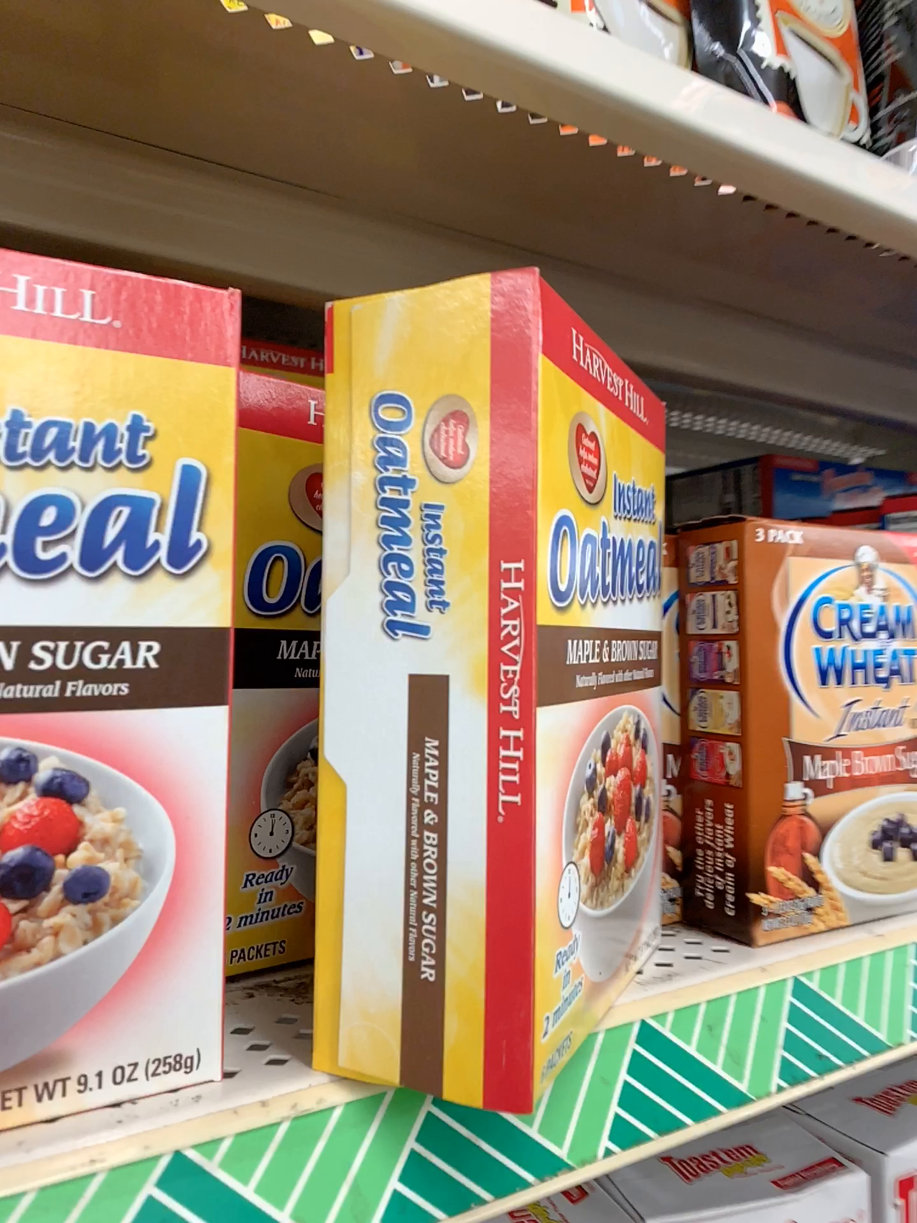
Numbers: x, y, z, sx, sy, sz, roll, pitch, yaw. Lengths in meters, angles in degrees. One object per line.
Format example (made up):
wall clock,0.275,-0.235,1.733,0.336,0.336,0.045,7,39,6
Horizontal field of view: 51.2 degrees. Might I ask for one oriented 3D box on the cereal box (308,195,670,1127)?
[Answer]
cereal box,0.018,0.010,0.255,0.050,0.180,0.130,-1,-3,24
